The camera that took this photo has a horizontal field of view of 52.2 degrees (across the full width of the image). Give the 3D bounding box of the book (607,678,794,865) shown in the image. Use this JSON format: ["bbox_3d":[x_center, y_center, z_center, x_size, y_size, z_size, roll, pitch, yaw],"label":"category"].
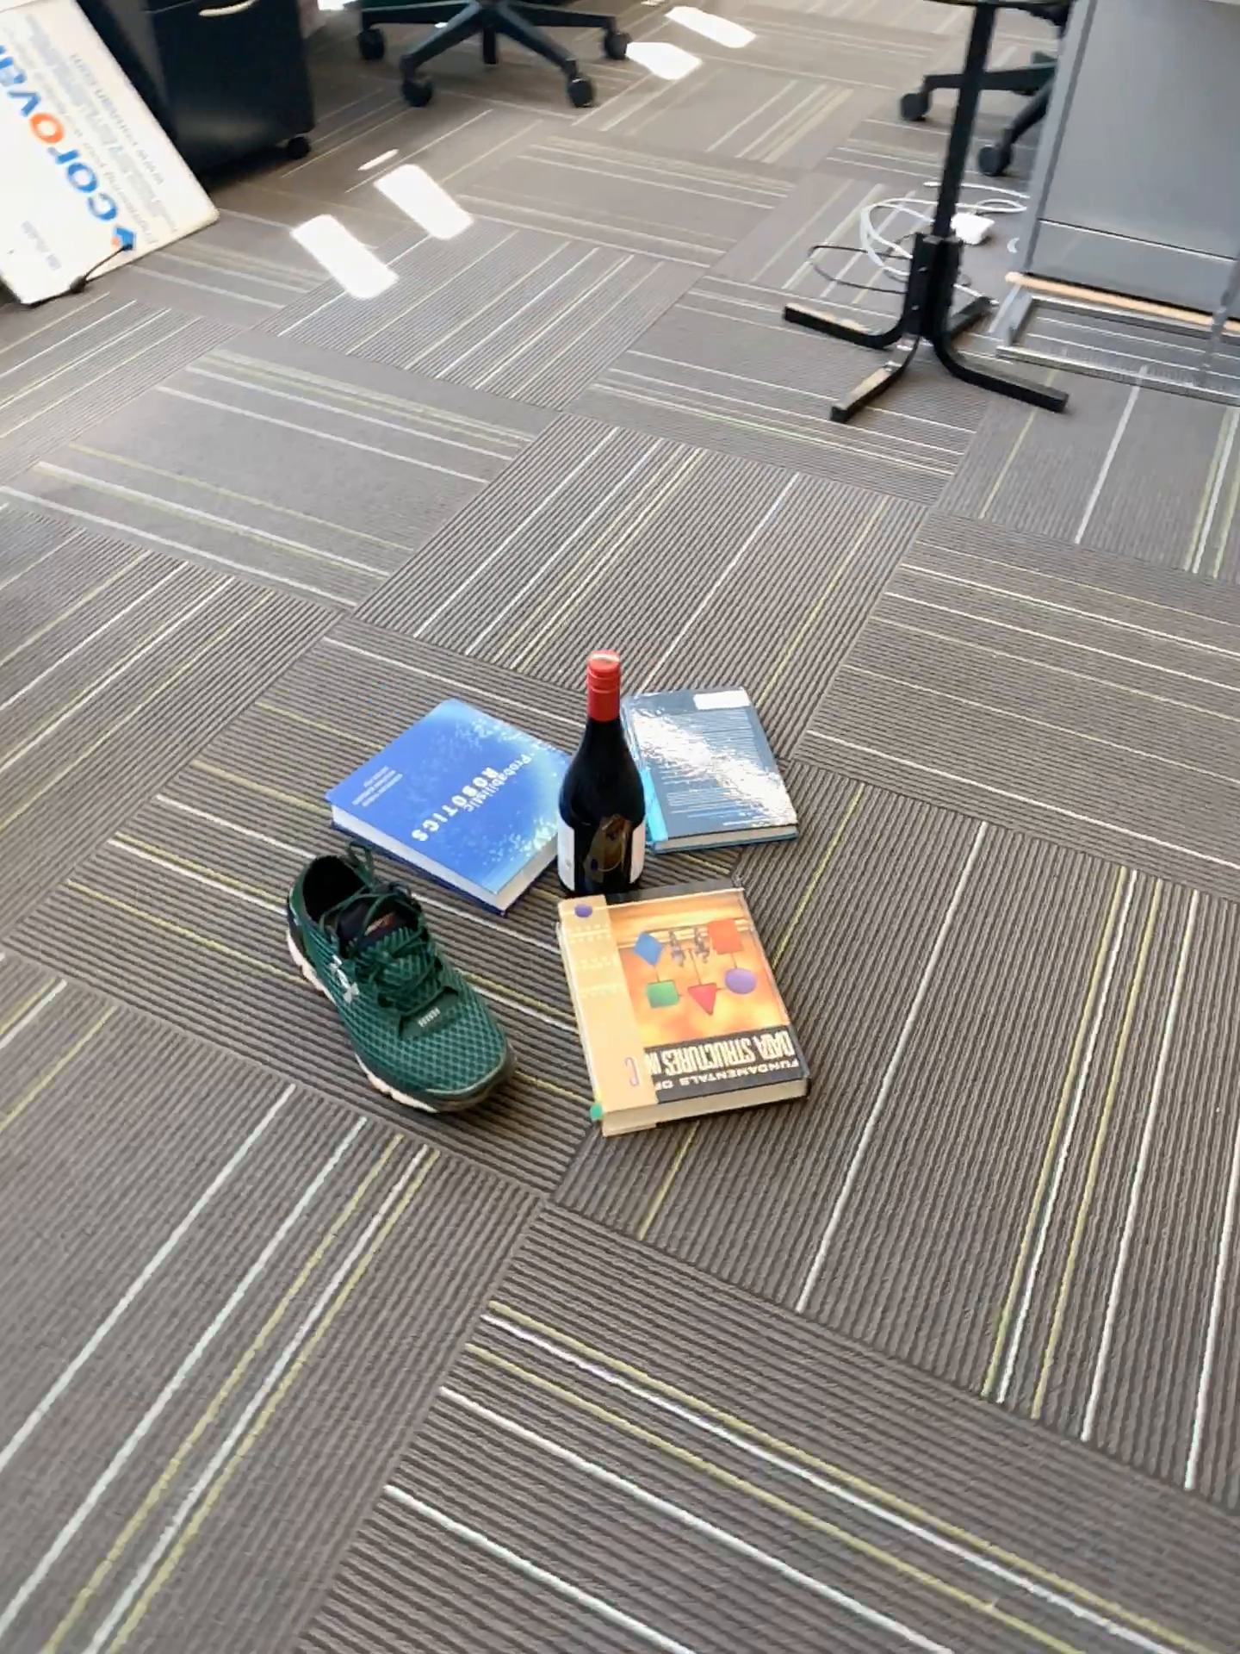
[{"bbox_3d":[0.081,-0.064,1.351,0.156,0.034,0.222,-9,47,-4],"label":"book"}]

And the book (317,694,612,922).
[{"bbox_3d":[-0.157,-0.027,1.307,0.231,0.041,0.194,25,50,21],"label":"book"}]

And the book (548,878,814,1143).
[{"bbox_3d":[0.047,0.157,1.136,0.188,0.041,0.231,-7,47,-9],"label":"book"}]
